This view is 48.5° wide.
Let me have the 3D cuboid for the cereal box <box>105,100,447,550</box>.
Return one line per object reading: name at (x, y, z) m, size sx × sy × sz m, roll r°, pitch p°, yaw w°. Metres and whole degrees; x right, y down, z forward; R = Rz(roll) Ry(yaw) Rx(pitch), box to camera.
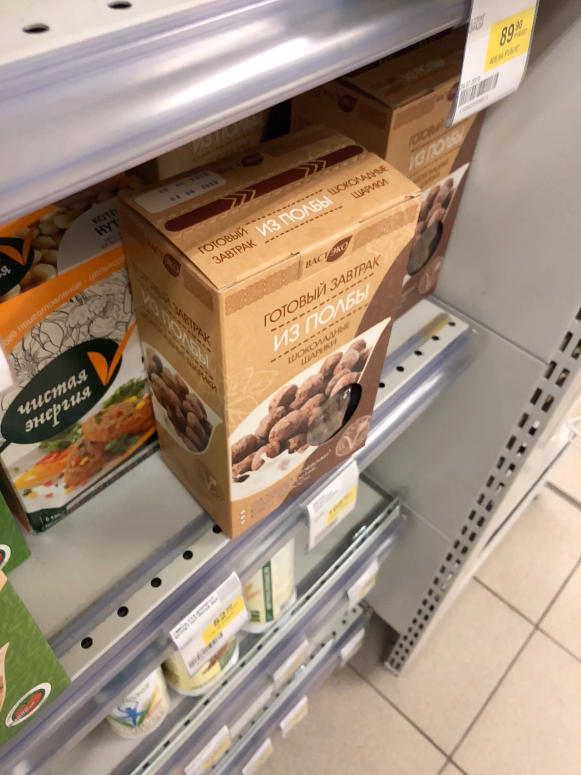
cereal box at (-0.009, -0.026, 0.362) m, size 0.130 × 0.209 × 0.080 m, roll -31°, pitch 57°, yaw -28°
